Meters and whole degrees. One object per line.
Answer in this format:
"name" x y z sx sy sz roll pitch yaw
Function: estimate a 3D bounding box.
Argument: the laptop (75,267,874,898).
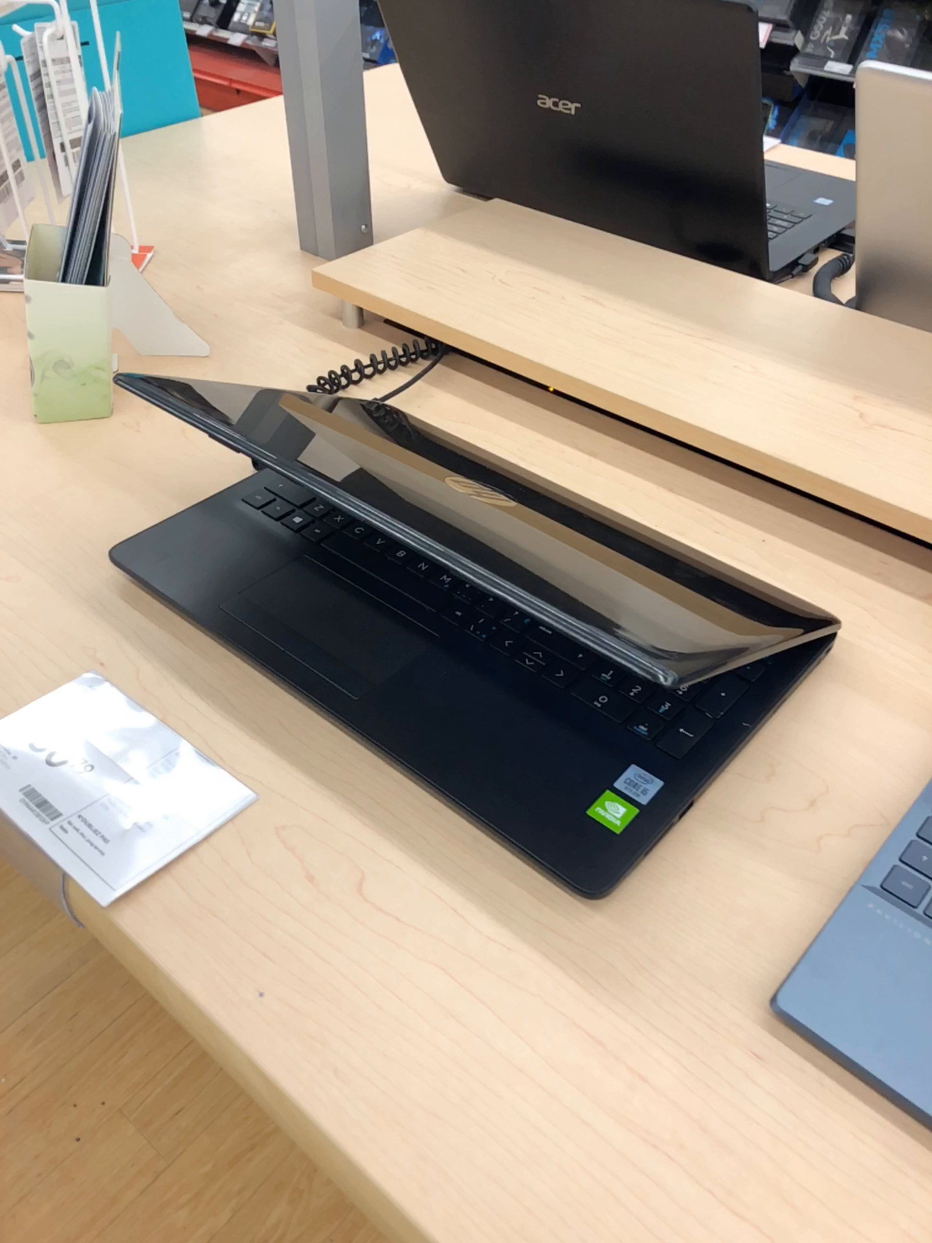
"laptop" -0.006 -0.063 0.582 0.372 0.115 0.239 30 48 31
